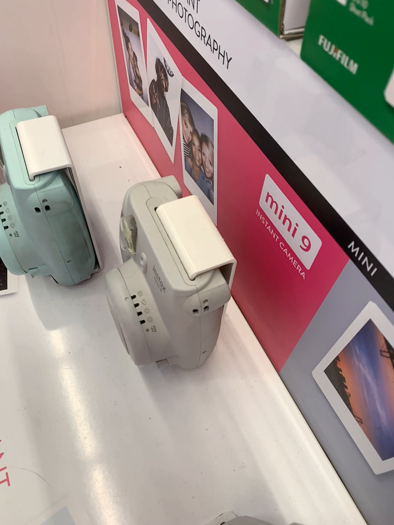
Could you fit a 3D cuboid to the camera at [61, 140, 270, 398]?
[{"bbox_3d":[-0.024,0.007,0.268,0.080,0.109,0.111,-19,59,-15],"label":"camera"}]
